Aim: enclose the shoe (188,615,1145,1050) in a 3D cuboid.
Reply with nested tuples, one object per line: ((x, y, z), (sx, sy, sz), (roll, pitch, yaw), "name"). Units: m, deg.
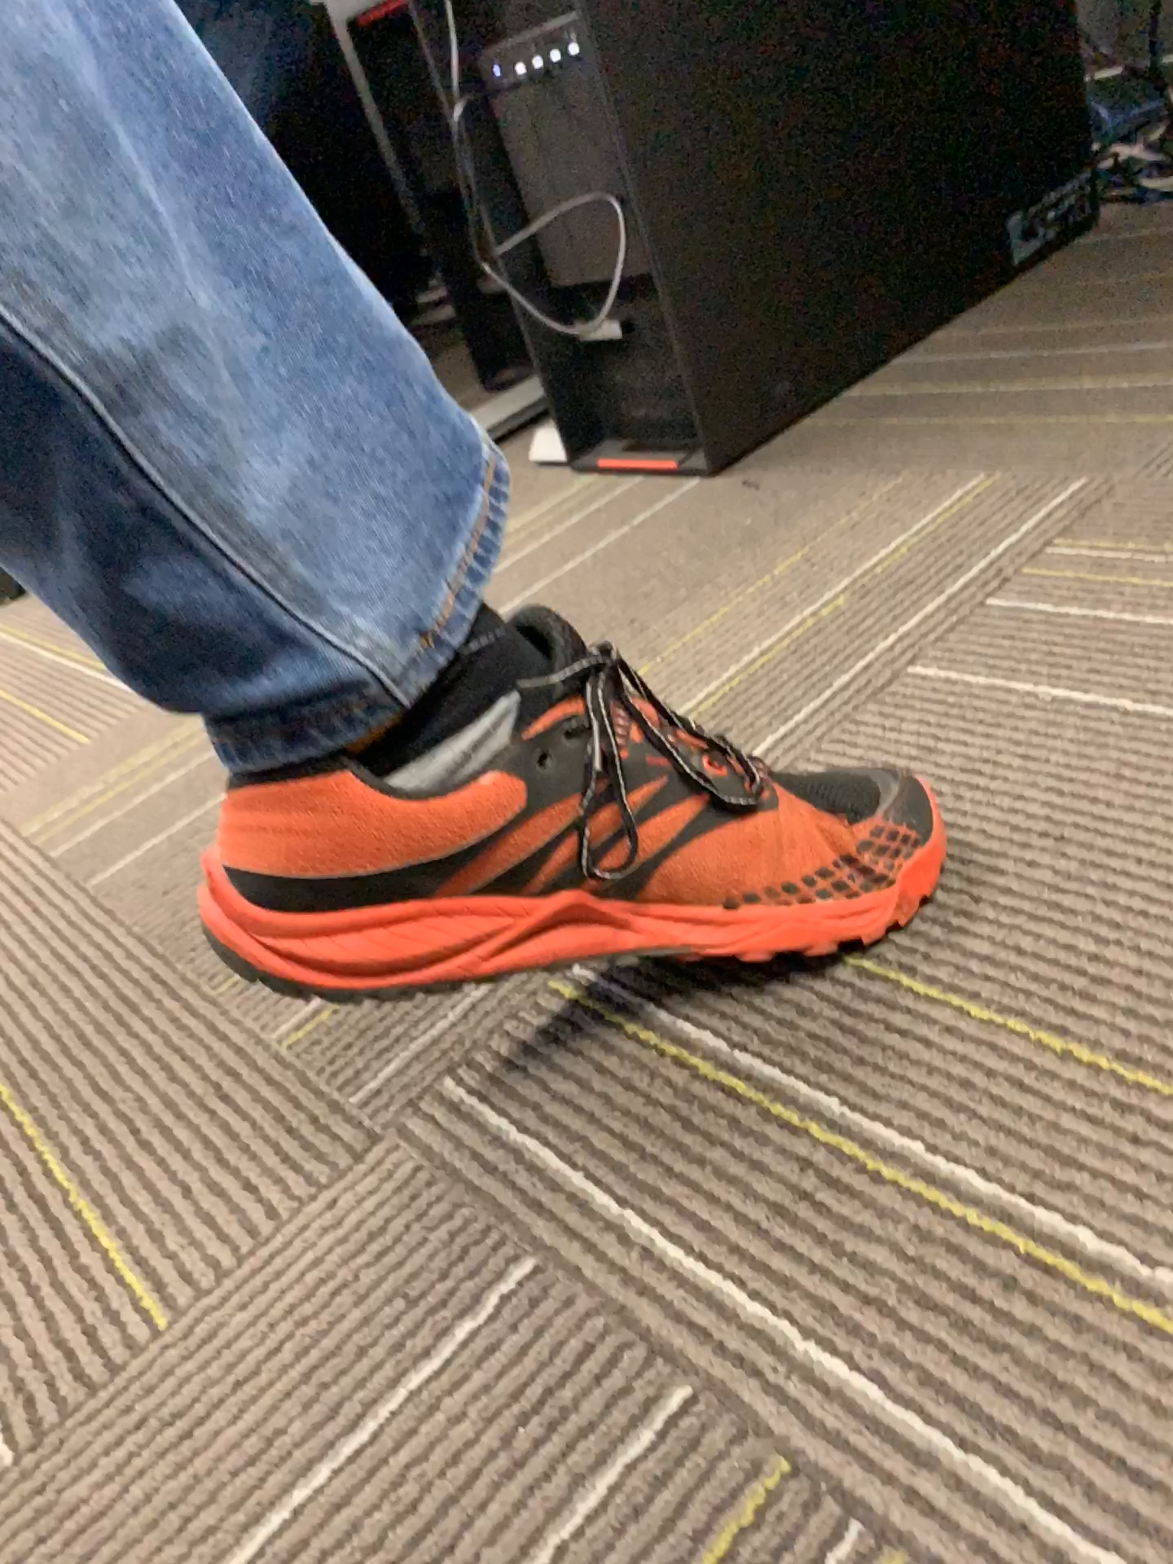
((0.022, 0.002, 0.444), (0.314, 0.106, 0.127), (-3, 17, -18), "shoe")
